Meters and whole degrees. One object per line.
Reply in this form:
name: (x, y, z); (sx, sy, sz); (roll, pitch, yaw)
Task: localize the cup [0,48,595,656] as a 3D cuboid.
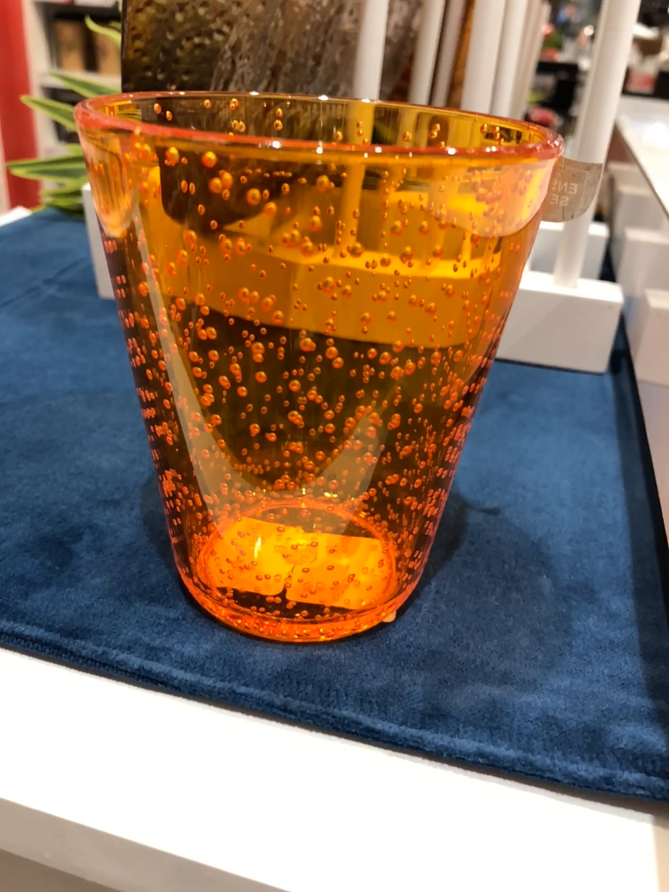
cup: (-0.011, -0.021, 0.145); (0.080, 0.090, 0.070); (4, 29, -2)
